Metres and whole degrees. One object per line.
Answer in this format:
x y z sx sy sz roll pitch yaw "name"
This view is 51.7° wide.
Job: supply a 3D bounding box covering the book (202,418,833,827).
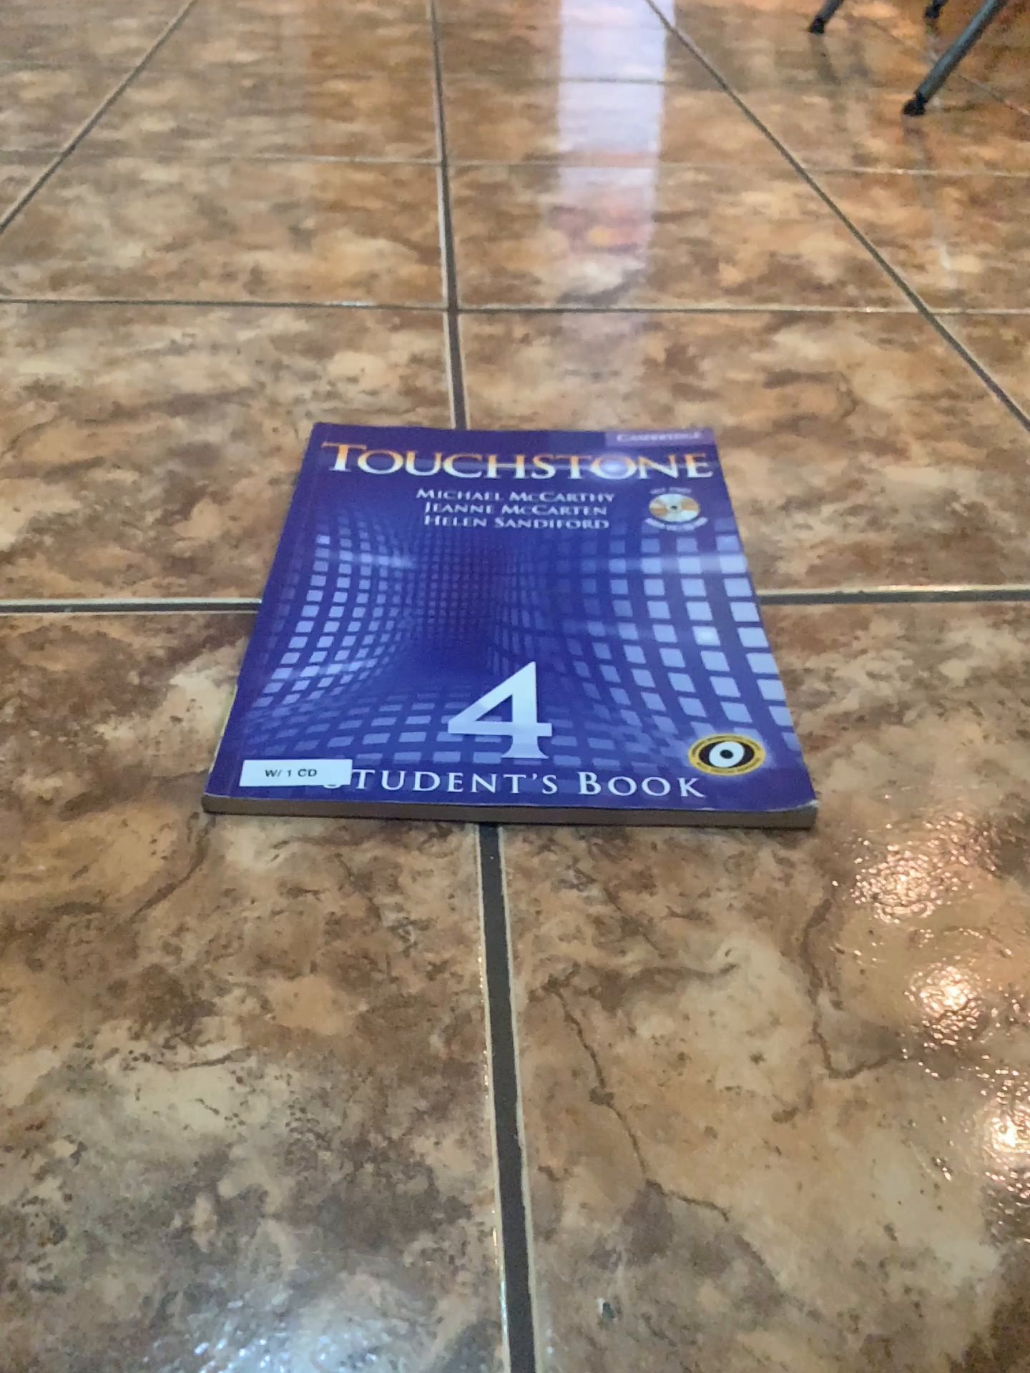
0.000 -0.047 0.474 0.219 0.010 0.276 1 41 -2 "book"
